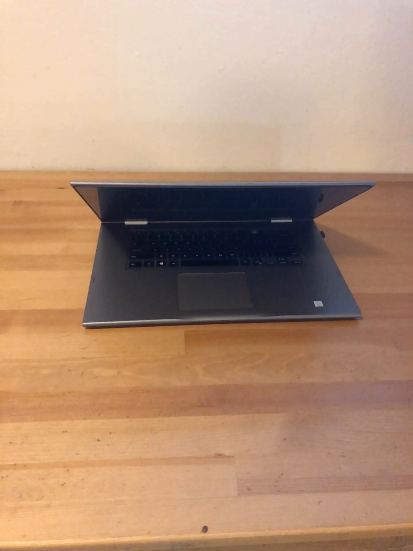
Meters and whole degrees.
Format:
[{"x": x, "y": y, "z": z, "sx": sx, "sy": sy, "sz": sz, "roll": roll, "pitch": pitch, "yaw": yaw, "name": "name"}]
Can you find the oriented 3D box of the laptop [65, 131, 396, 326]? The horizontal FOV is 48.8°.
[{"x": 0.021, "y": -0.081, "z": 0.659, "sx": 0.375, "sy": 0.165, "sz": 0.248, "roll": -2, "pitch": 38, "yaw": -5, "name": "laptop"}]
